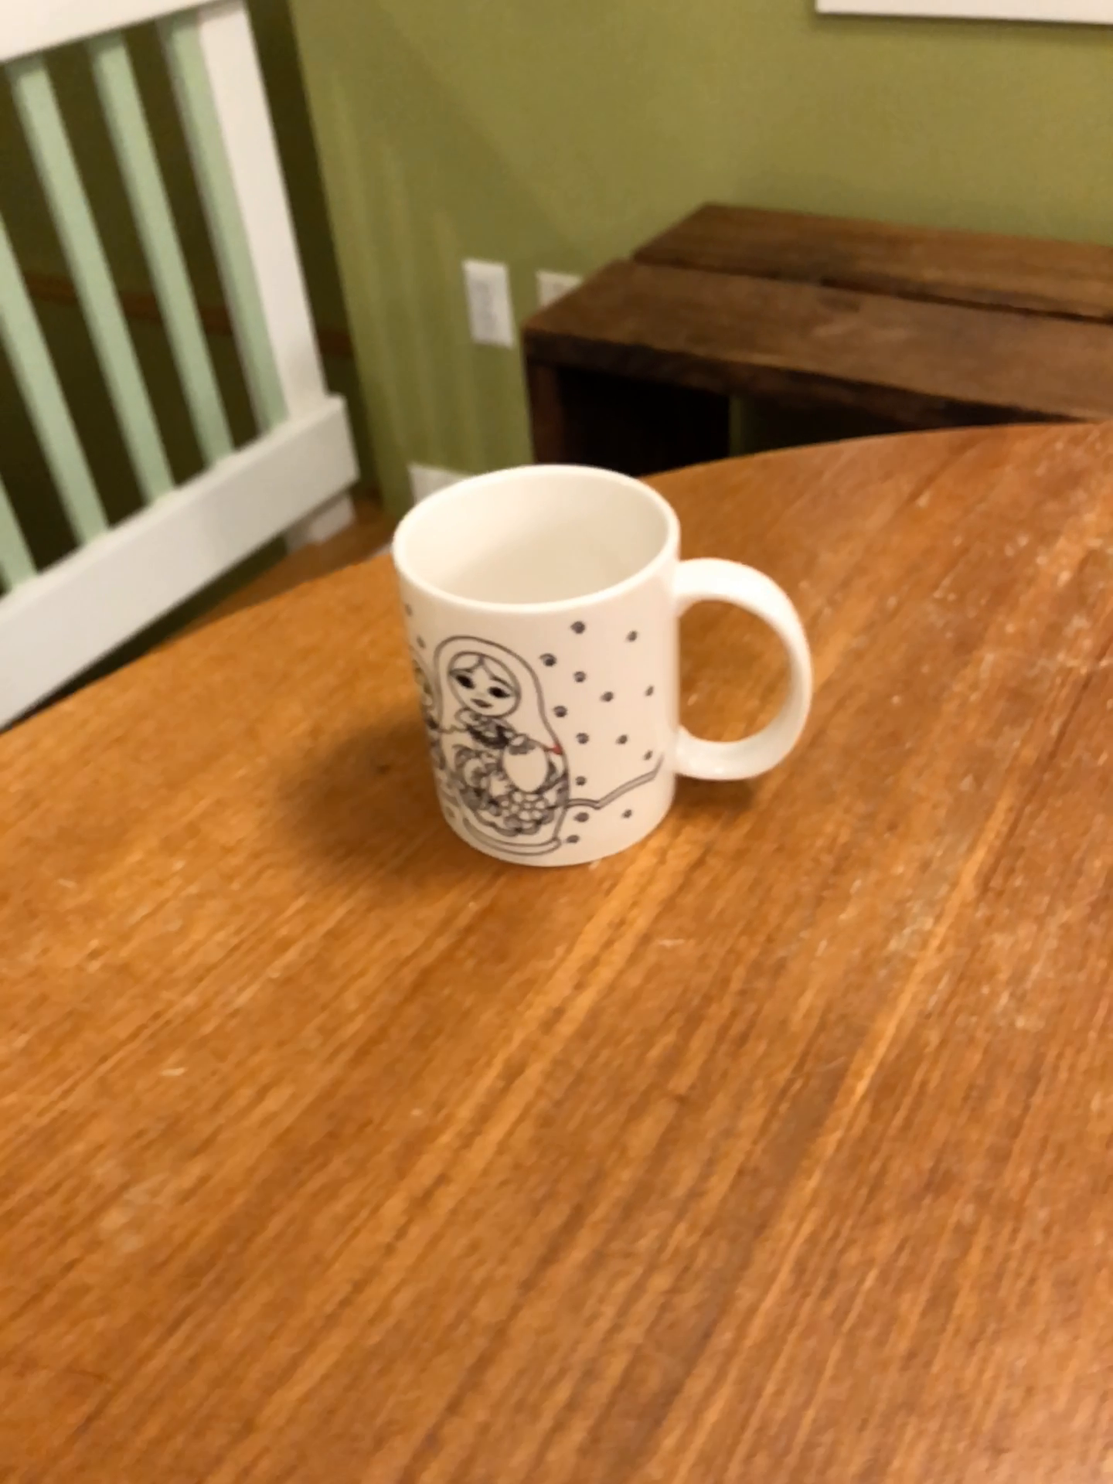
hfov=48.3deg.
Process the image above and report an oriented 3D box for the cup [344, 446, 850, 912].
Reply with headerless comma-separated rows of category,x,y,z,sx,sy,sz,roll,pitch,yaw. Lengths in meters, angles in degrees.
cup,0.019,-0.023,0.382,0.126,0.099,0.088,6,40,14
